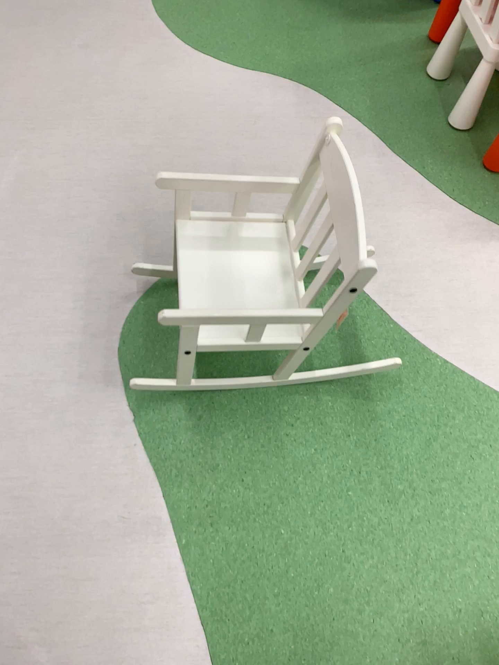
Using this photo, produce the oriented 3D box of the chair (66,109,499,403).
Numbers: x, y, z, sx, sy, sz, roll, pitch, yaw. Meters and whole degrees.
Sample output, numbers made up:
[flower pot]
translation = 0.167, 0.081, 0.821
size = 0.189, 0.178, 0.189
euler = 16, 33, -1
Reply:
[chair]
translation = 0.045, -0.142, 1.167
size = 0.730, 0.499, 0.411
euler = -4, 63, -2
